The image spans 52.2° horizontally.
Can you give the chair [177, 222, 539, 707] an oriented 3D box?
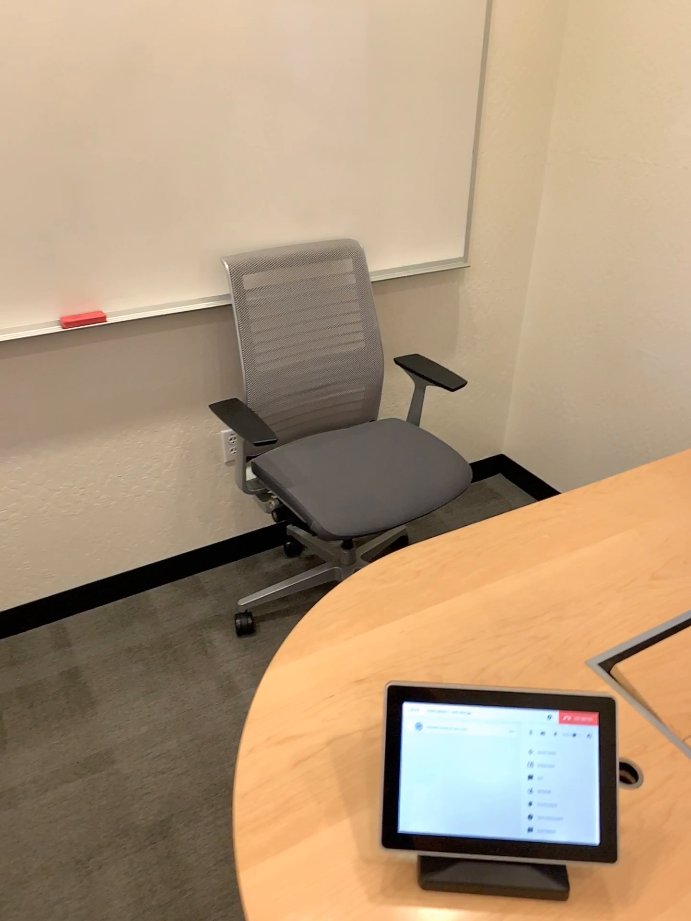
[{"bbox_3d":[0.001,-0.043,2.342,0.761,1.263,0.754,-16,33,-30],"label":"chair"}]
